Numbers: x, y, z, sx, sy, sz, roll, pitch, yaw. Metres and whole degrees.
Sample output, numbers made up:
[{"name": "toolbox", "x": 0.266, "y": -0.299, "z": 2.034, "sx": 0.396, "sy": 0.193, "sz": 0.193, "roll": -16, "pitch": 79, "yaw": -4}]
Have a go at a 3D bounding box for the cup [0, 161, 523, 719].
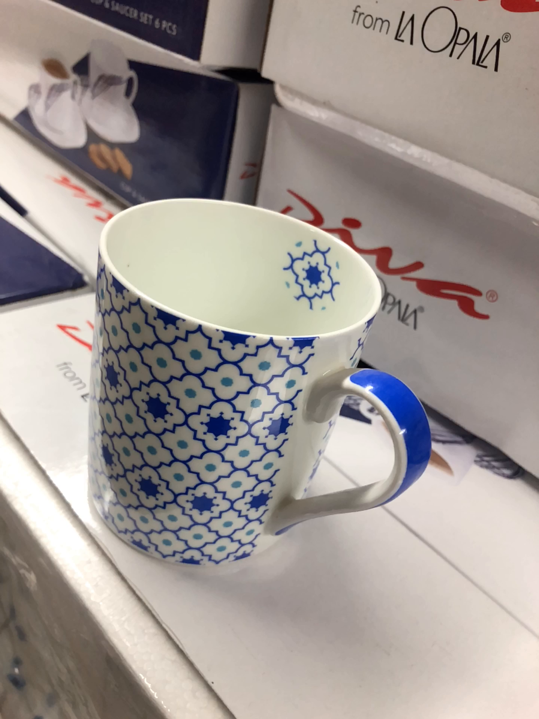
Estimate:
[{"name": "cup", "x": -0.013, "y": 0.011, "z": 0.153, "sx": 0.100, "sy": 0.079, "sz": 0.070, "roll": 36, "pitch": 41, "yaw": 29}]
